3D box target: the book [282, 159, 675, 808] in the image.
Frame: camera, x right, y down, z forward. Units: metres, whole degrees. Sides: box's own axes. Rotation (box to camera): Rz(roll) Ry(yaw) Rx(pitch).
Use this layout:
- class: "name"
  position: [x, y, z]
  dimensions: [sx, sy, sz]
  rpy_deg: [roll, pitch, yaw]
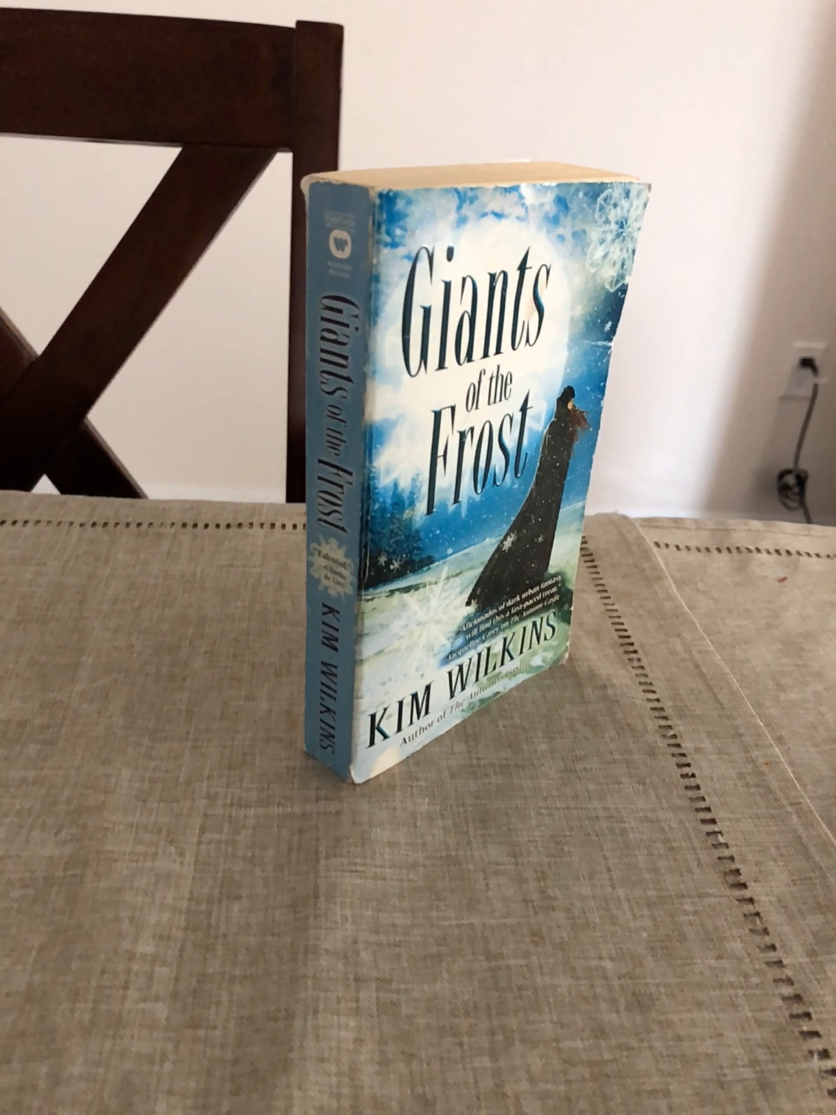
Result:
- class: "book"
  position: [0.016, -0.026, 0.283]
  dimensions: [0.043, 0.168, 0.111]
  rpy_deg: [25, 34, 35]
